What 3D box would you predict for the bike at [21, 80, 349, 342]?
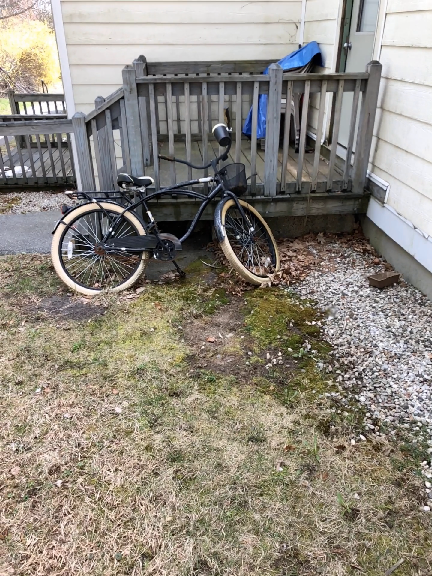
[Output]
[{"bbox_3d":[-0.269,-0.584,3.233,1.610,1.313,0.942,-12,30,-14],"label":"bike"}]
